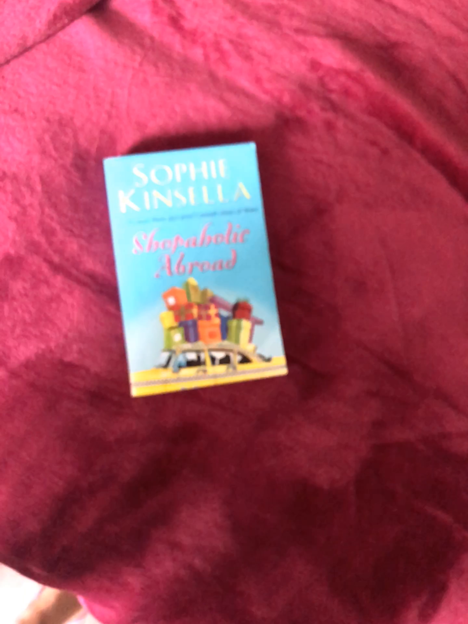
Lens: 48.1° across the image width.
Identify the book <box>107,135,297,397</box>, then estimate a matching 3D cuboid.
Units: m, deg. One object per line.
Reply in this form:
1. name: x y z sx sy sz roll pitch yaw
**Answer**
1. book: -0.028 -0.039 0.443 0.129 0.035 0.200 -7 86 -5
